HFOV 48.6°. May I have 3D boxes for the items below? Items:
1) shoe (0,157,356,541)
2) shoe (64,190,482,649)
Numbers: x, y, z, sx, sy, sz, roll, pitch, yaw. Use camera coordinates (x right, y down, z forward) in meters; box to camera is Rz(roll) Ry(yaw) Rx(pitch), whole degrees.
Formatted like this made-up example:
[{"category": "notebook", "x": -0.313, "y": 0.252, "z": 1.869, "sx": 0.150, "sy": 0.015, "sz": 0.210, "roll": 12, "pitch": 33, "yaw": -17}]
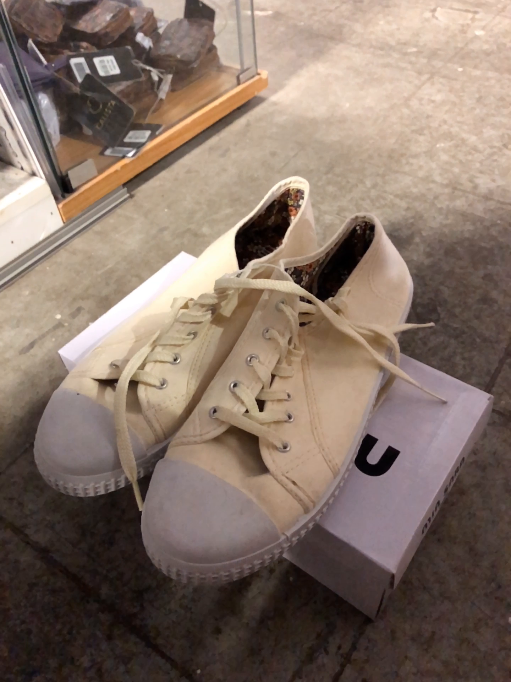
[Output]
[{"category": "shoe", "x": -0.039, "y": -0.015, "z": 0.375, "sx": 0.090, "sy": 0.079, "sz": 0.261, "roll": 26, "pitch": 54, "yaw": 25}, {"category": "shoe", "x": 0.028, "y": 0.022, "z": 0.329, "sx": 0.100, "sy": 0.079, "sz": 0.251, "roll": 26, "pitch": 54, "yaw": 25}]
